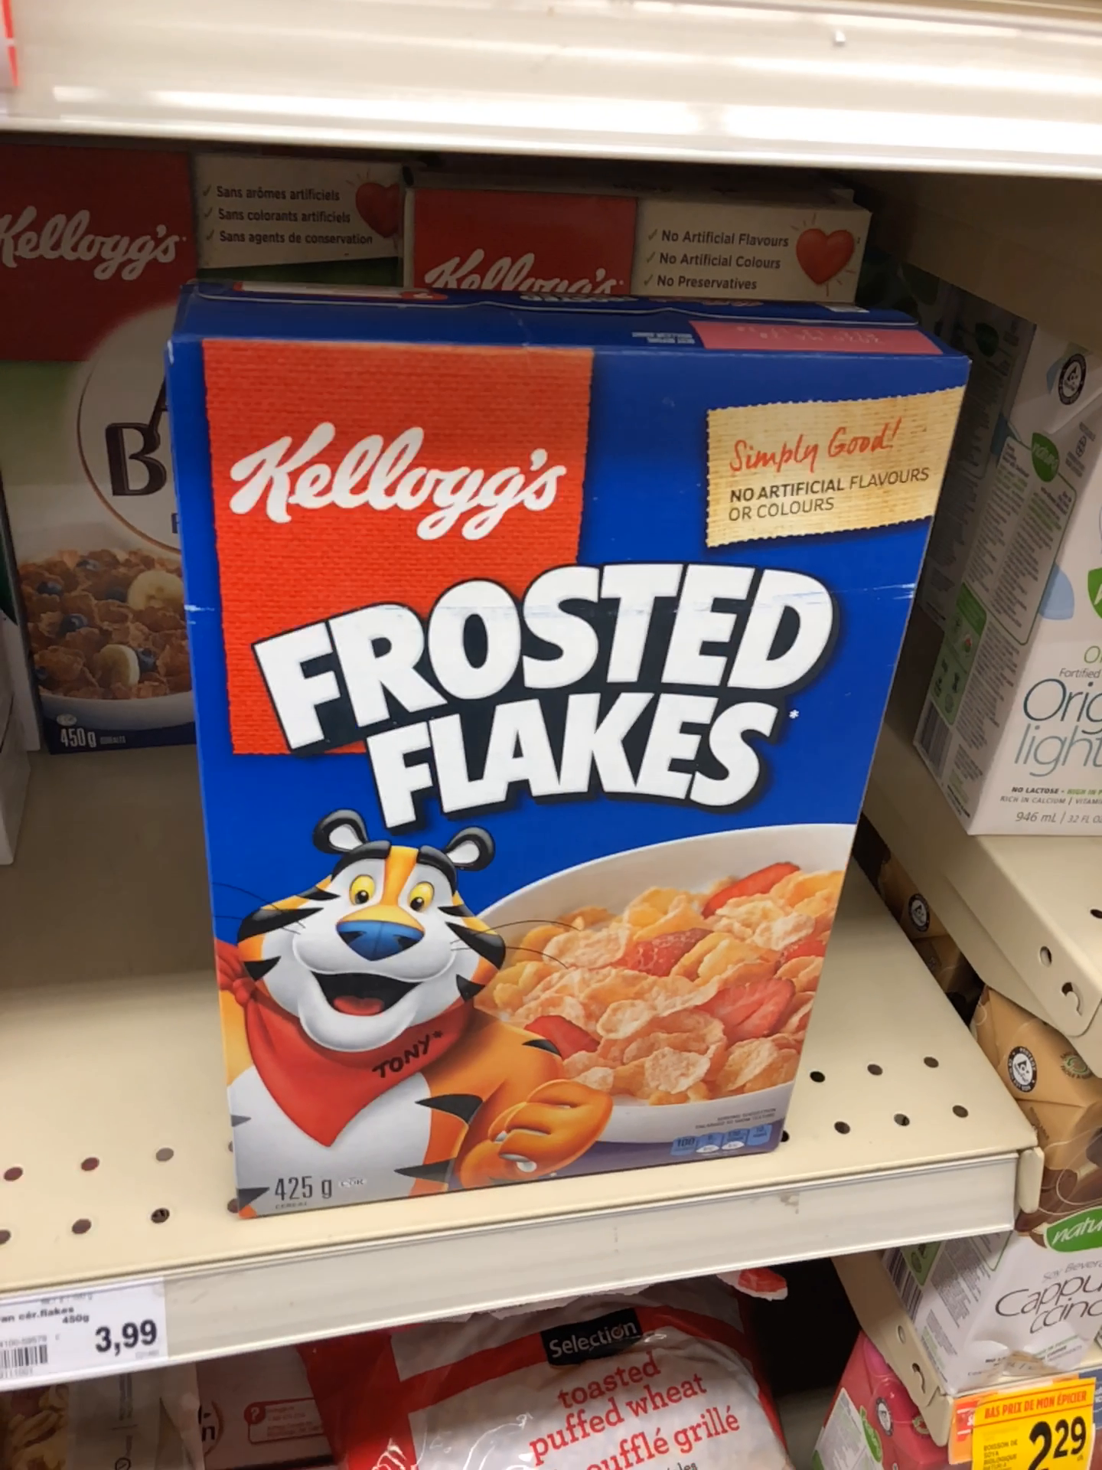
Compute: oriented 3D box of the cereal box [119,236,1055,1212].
[{"bbox_3d":[0.001,0.010,0.360,0.210,0.278,0.060,-3,31,-11],"label":"cereal box"}]
